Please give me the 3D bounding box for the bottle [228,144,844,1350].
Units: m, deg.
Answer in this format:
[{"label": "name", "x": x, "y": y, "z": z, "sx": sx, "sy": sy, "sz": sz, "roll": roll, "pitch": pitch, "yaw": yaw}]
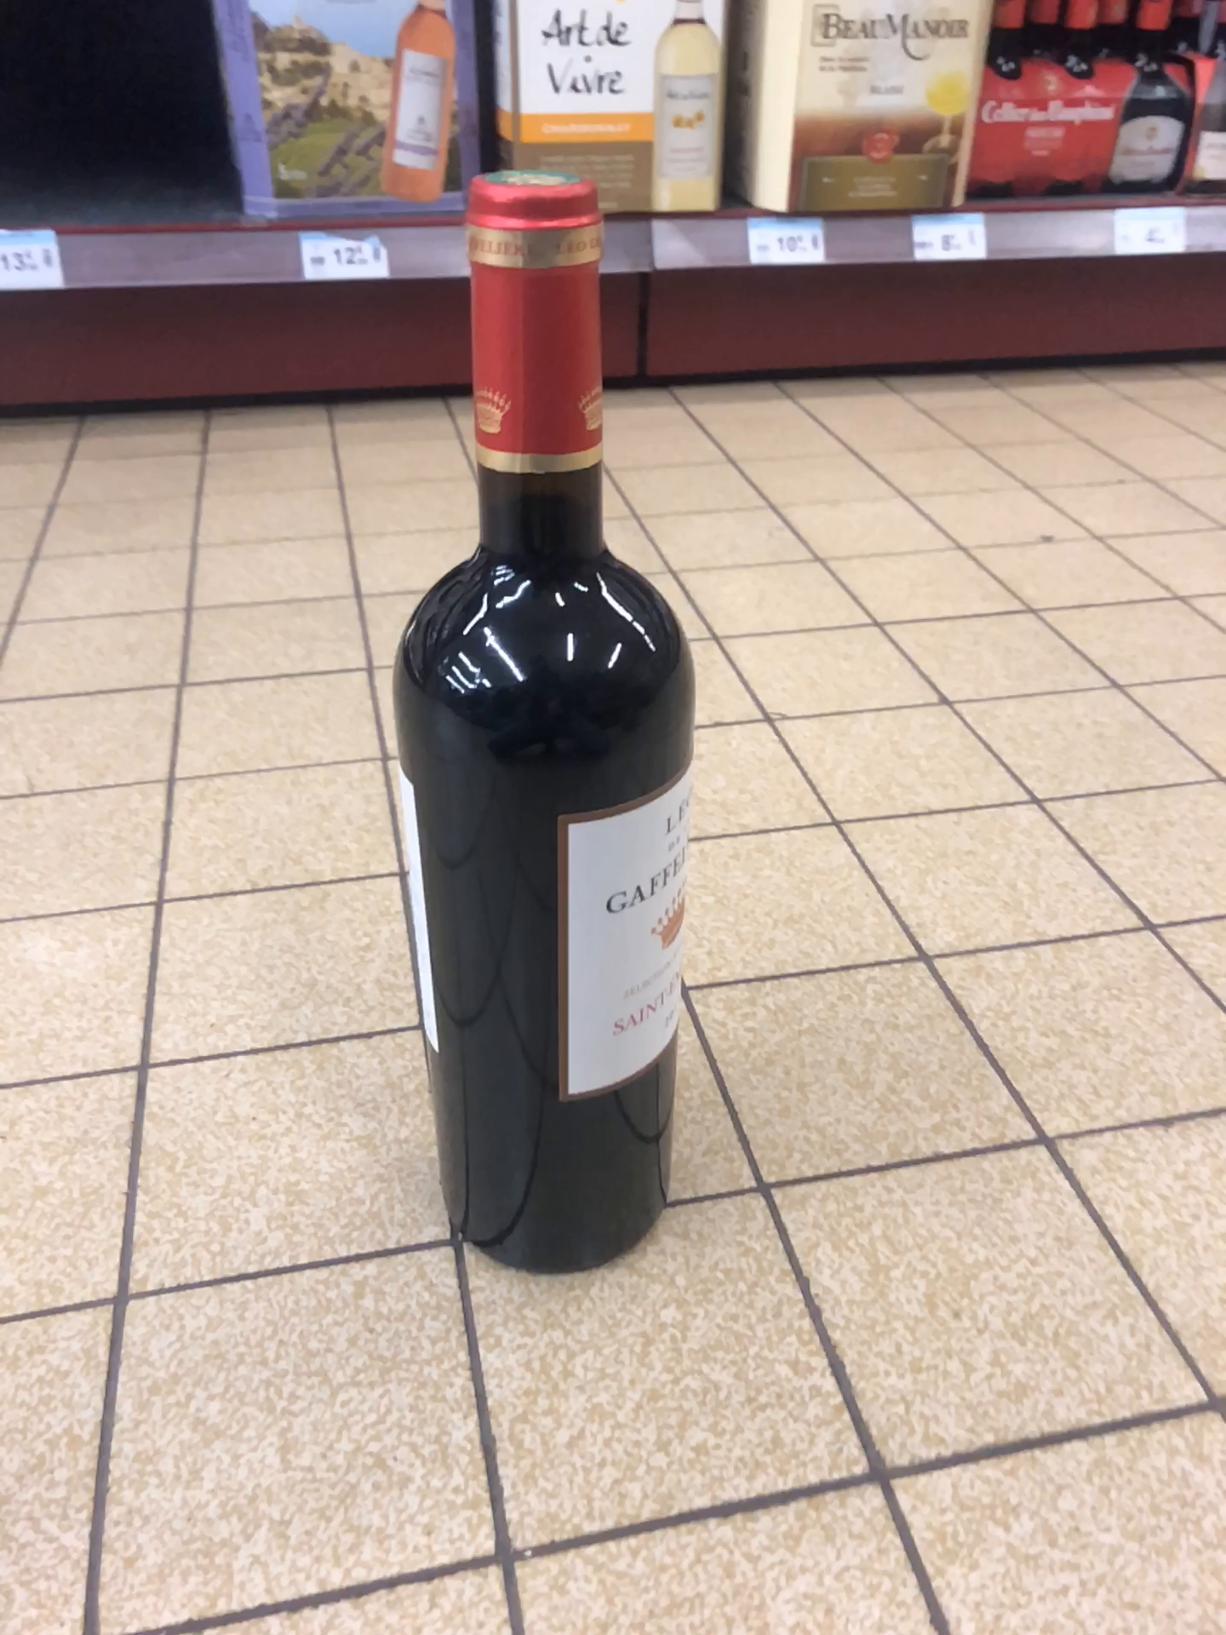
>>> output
[{"label": "bottle", "x": -0.015, "y": -0.008, "z": 0.350, "sx": 0.090, "sy": 0.287, "sz": 0.091, "roll": 1, "pitch": 32, "yaw": 0}]
